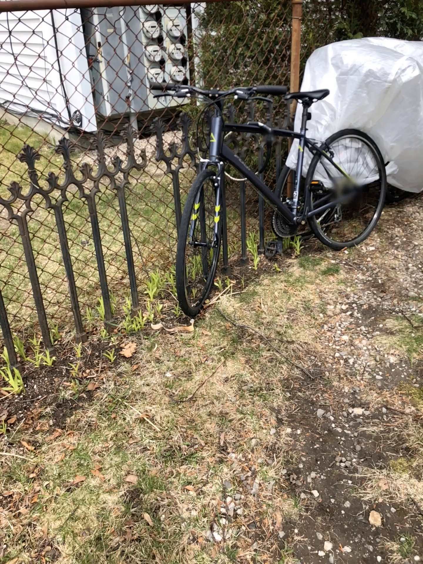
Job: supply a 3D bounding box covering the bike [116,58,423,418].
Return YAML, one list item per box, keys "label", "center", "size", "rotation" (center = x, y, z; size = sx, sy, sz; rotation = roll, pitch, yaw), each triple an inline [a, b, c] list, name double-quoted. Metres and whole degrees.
- label: "bike"
  center: [0.564, -0.507, 2.624]
  size: [0.678, 1.347, 2.203]
  rotation: [22, 34, 35]
